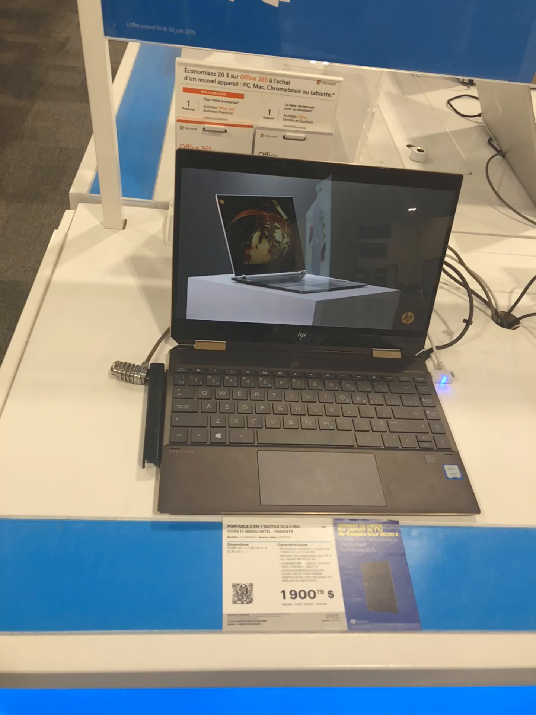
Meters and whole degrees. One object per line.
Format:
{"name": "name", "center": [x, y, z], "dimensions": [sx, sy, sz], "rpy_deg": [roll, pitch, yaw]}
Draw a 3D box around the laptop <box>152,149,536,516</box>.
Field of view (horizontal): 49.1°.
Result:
{"name": "laptop", "center": [0.050, -0.029, 0.571], "dimensions": [0.297, 0.197, 0.286], "rpy_deg": [3, 44, -8]}
